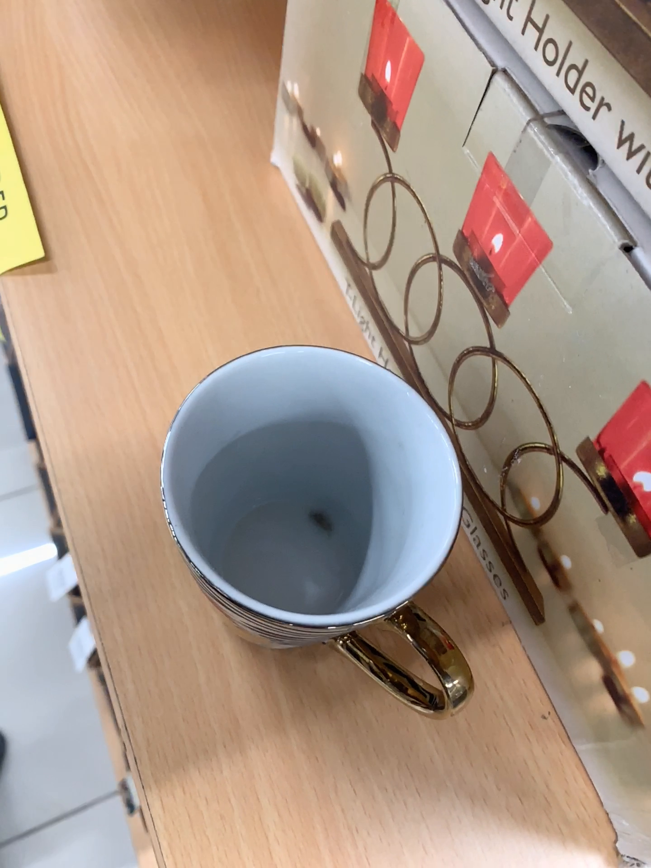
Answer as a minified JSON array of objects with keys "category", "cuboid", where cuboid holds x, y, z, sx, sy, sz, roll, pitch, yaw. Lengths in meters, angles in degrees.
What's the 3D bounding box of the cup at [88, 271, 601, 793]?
[{"category":"cup","cuboid":[-0.002,0.029,0.188,0.070,0.080,0.100,-32,73,-24]}]
